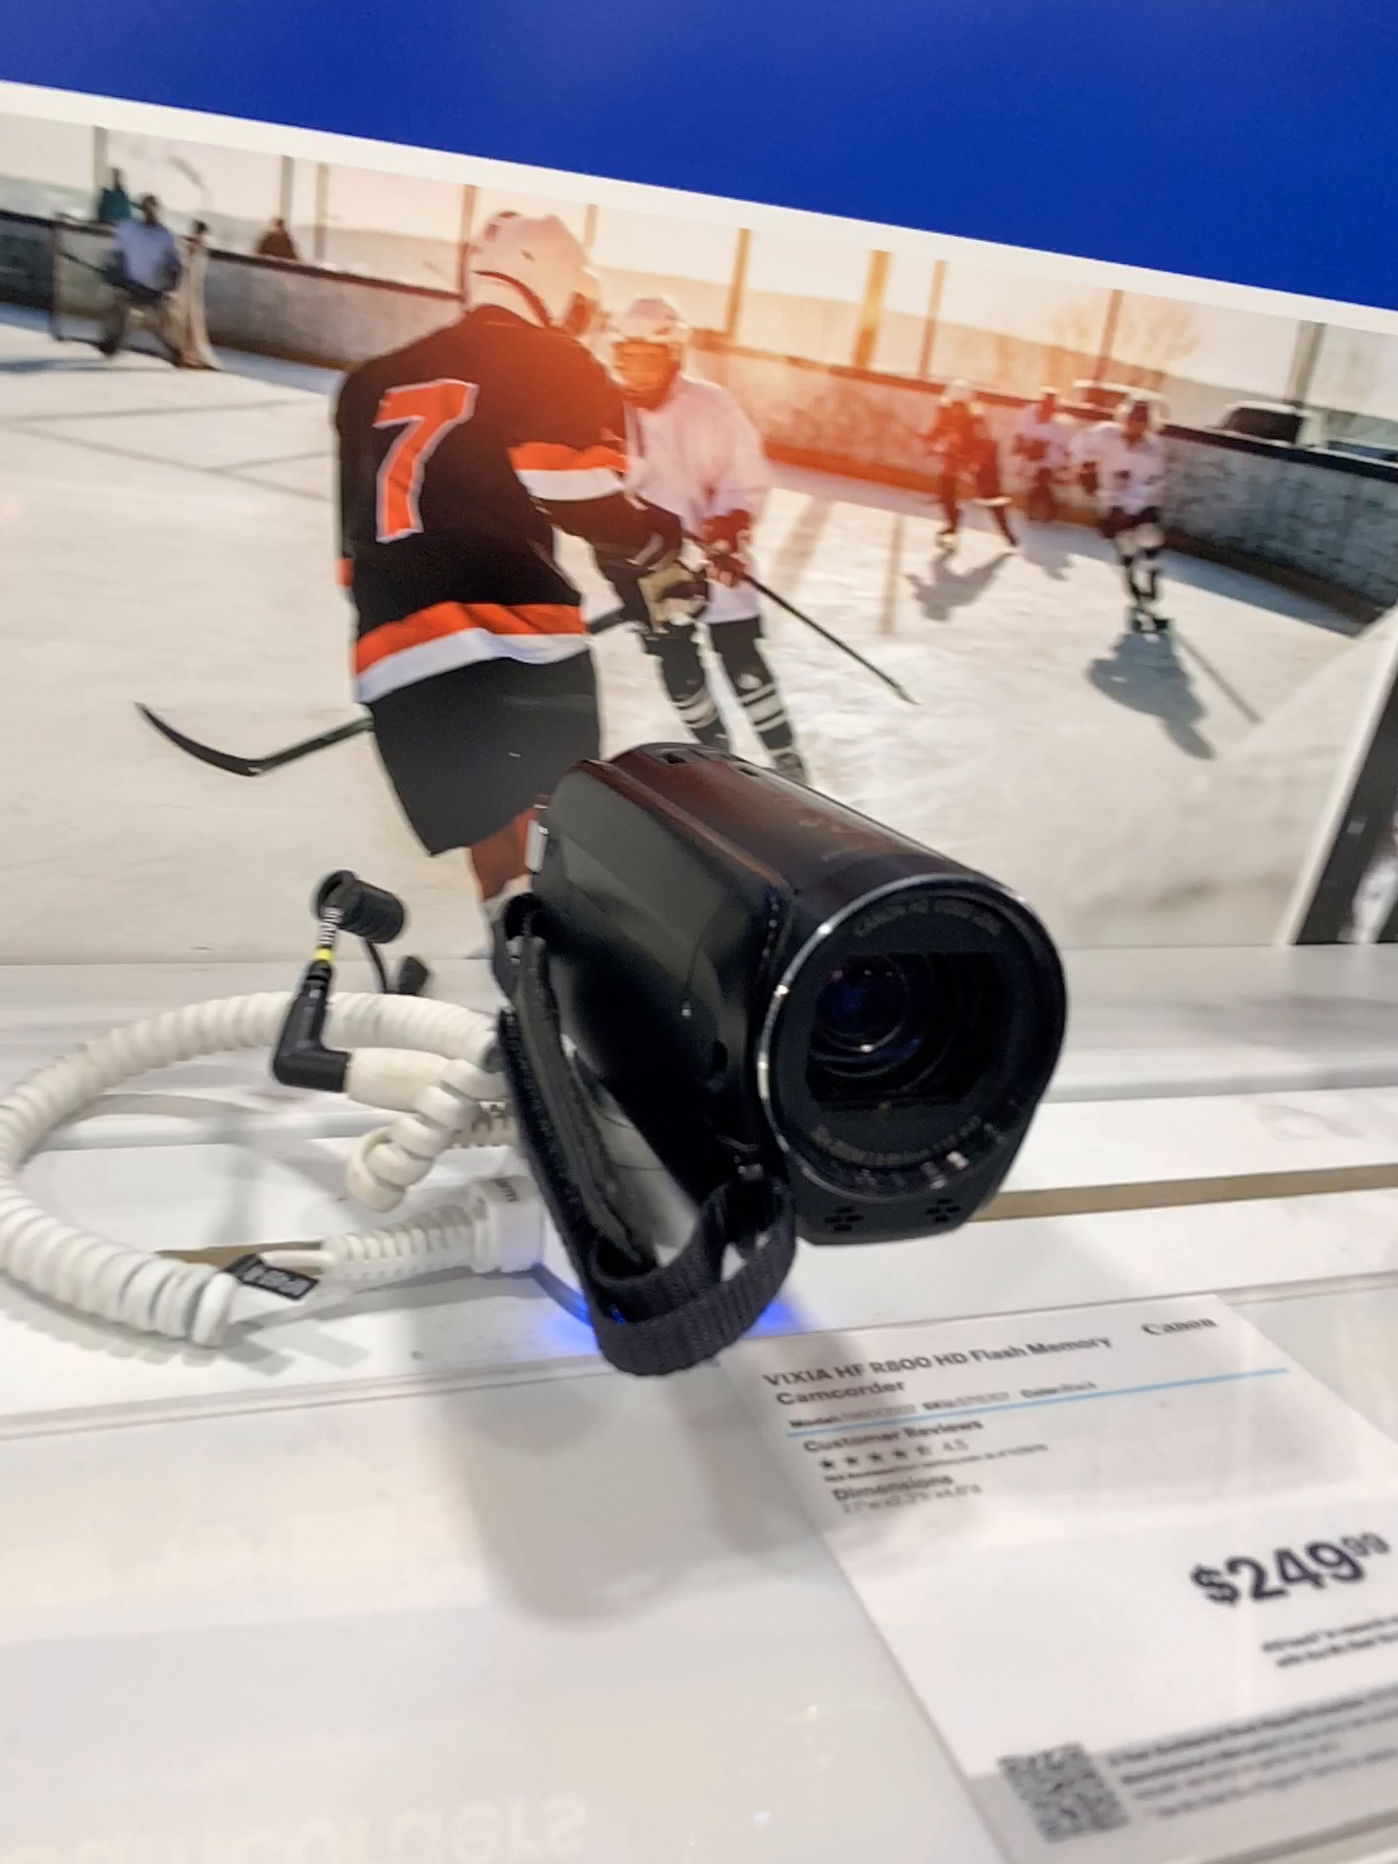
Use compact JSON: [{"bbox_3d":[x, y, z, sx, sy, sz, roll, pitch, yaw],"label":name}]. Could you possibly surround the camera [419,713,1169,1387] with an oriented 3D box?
[{"bbox_3d":[0.001,0.006,0.246,0.072,0.062,0.140,0,17,-20],"label":"camera"}]
